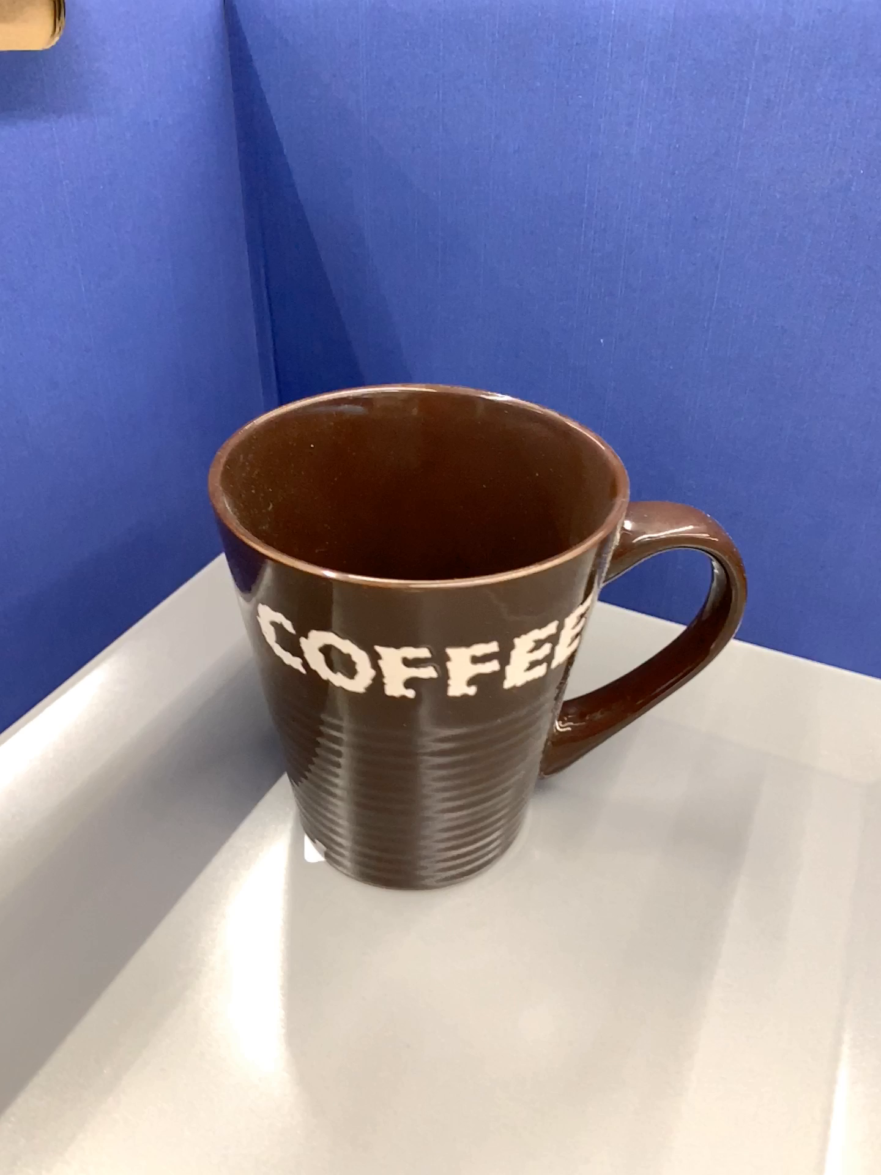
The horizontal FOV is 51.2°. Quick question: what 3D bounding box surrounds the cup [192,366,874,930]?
[{"bbox_3d":[0.013,0.010,0.232,0.128,0.098,0.090,-4,35,-8],"label":"cup"}]
